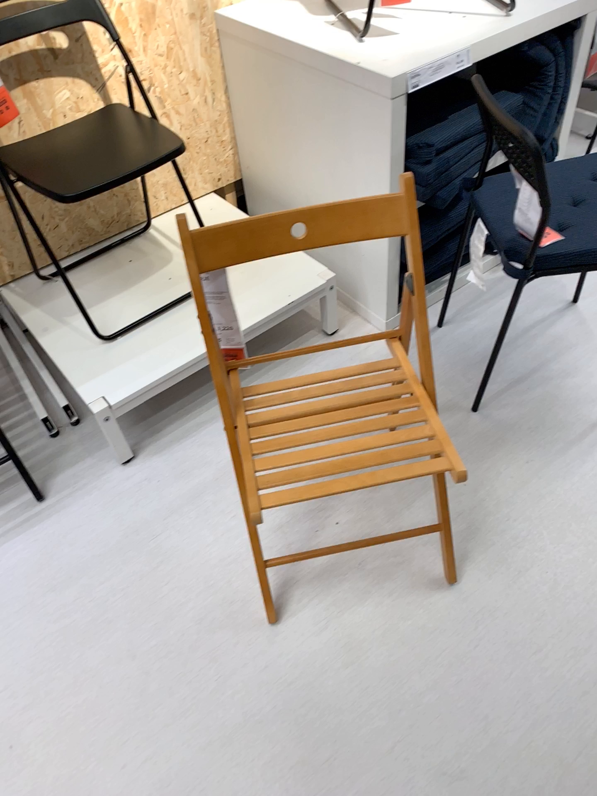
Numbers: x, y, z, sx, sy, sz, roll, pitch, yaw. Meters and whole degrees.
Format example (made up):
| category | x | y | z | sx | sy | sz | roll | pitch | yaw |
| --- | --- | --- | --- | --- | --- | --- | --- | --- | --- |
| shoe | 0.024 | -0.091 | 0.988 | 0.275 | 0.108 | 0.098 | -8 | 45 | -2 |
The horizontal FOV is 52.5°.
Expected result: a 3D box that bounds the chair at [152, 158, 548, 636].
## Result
| category | x | y | z | sx | sy | sz | roll | pitch | yaw |
| --- | --- | --- | --- | --- | --- | --- | --- | --- | --- |
| chair | 0.057 | 0.017 | 1.231 | 0.510 | 0.697 | 0.562 | -12 | 47 | -4 |
